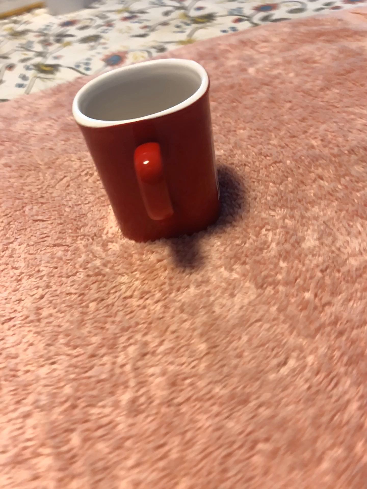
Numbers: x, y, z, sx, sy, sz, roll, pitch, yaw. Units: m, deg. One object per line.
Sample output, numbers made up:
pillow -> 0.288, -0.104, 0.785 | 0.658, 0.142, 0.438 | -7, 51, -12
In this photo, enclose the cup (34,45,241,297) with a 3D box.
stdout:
cup -> -0.016, -0.040, 0.206 | 0.070, 0.070, 0.101 | -9, 43, 5
